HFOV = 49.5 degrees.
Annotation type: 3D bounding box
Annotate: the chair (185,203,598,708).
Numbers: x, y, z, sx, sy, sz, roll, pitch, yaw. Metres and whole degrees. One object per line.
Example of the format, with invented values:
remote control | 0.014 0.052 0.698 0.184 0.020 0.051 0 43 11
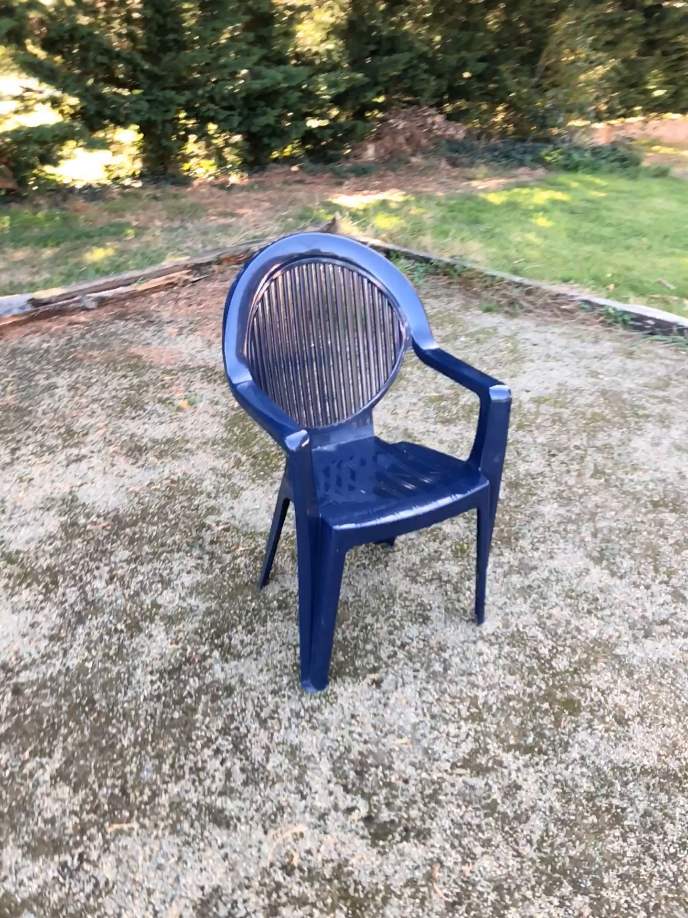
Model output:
chair | 0.056 -0.056 1.671 0.593 0.855 0.571 -15 34 -29
